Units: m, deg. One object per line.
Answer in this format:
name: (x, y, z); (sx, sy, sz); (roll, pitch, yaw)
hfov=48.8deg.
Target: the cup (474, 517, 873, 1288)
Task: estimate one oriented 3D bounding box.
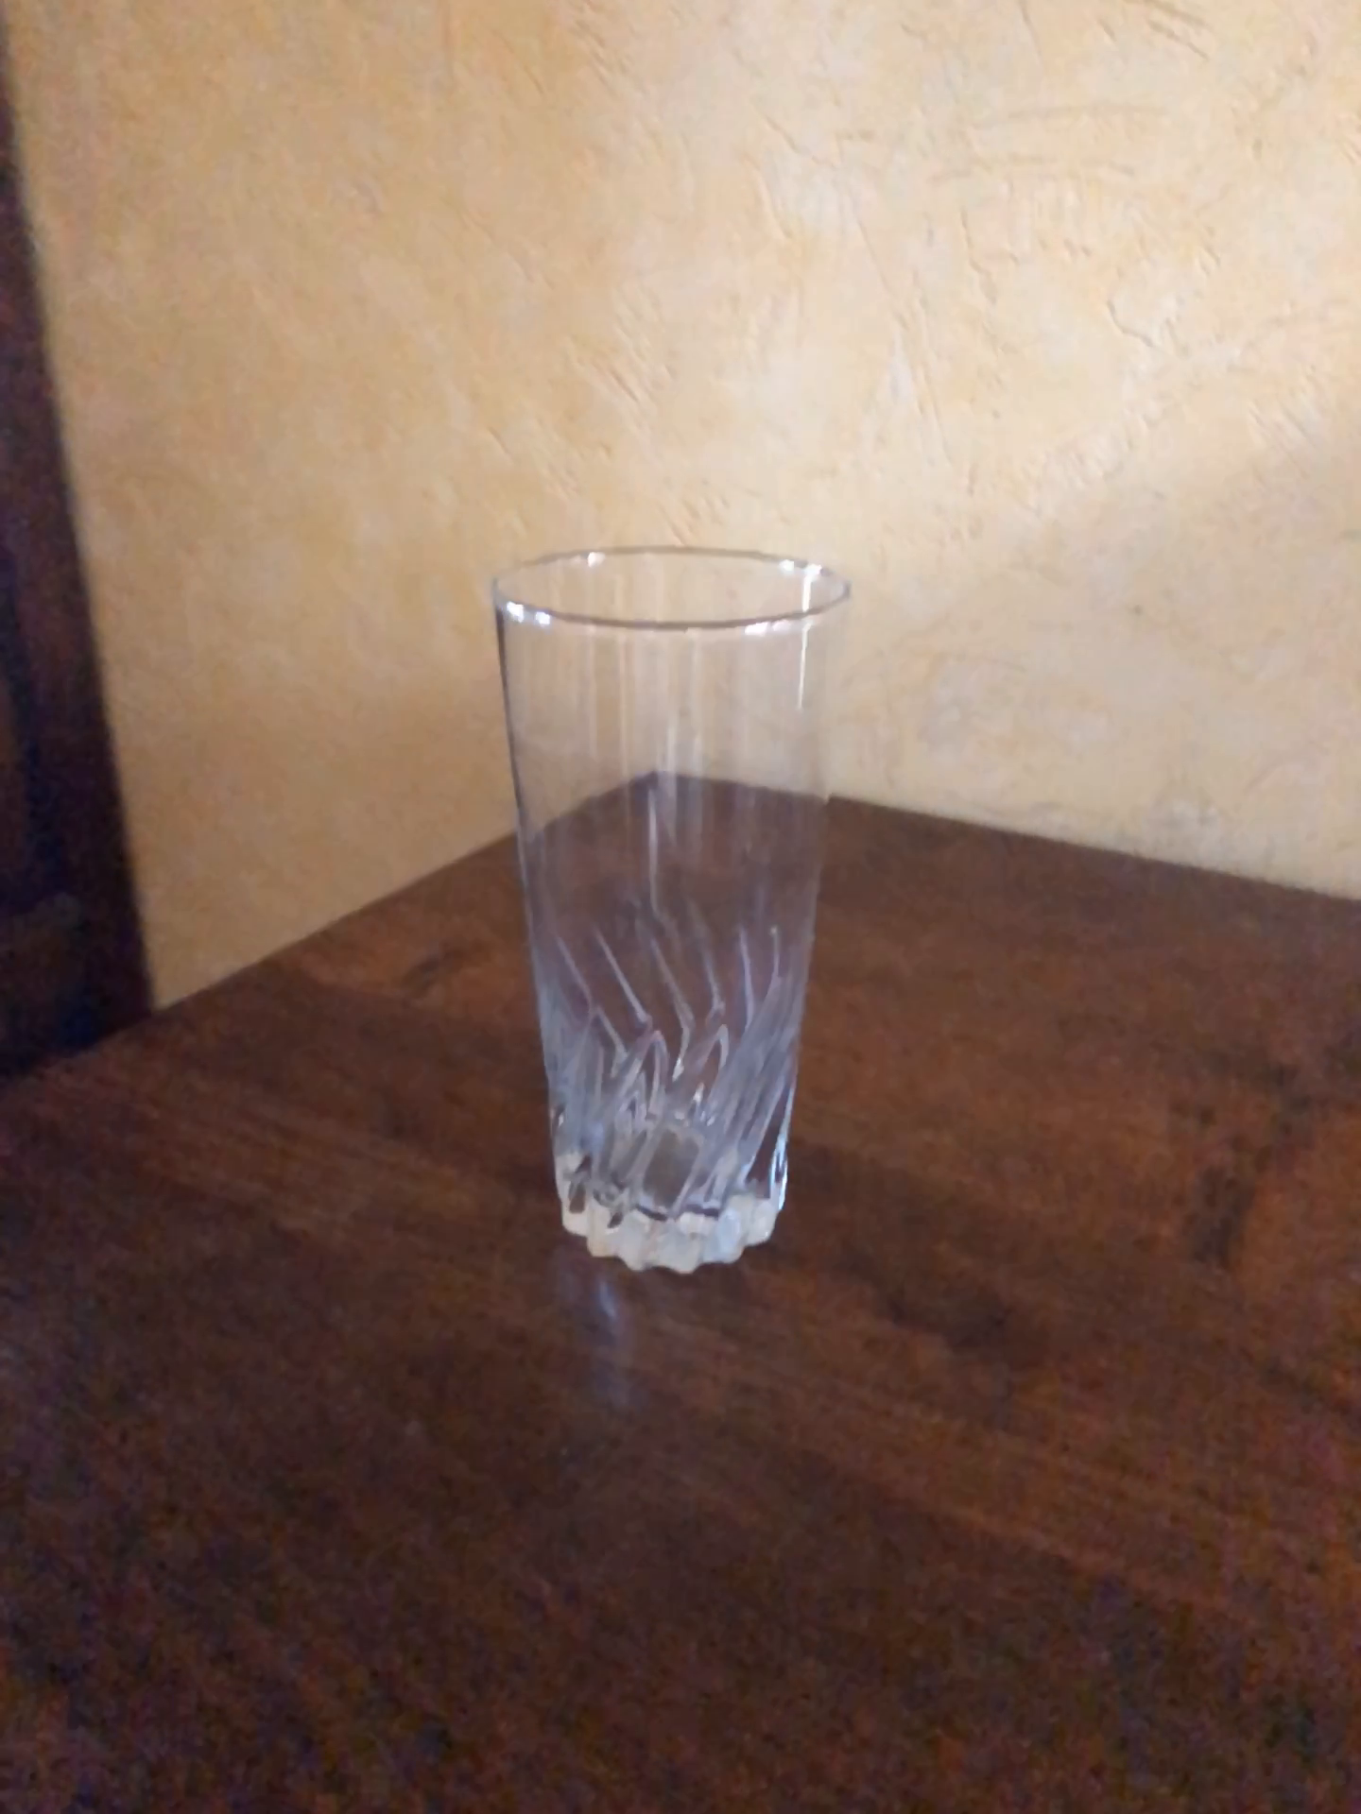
cup: (-0.003, -0.002, 0.325); (0.070, 0.149, 0.070); (0, 23, 0)
